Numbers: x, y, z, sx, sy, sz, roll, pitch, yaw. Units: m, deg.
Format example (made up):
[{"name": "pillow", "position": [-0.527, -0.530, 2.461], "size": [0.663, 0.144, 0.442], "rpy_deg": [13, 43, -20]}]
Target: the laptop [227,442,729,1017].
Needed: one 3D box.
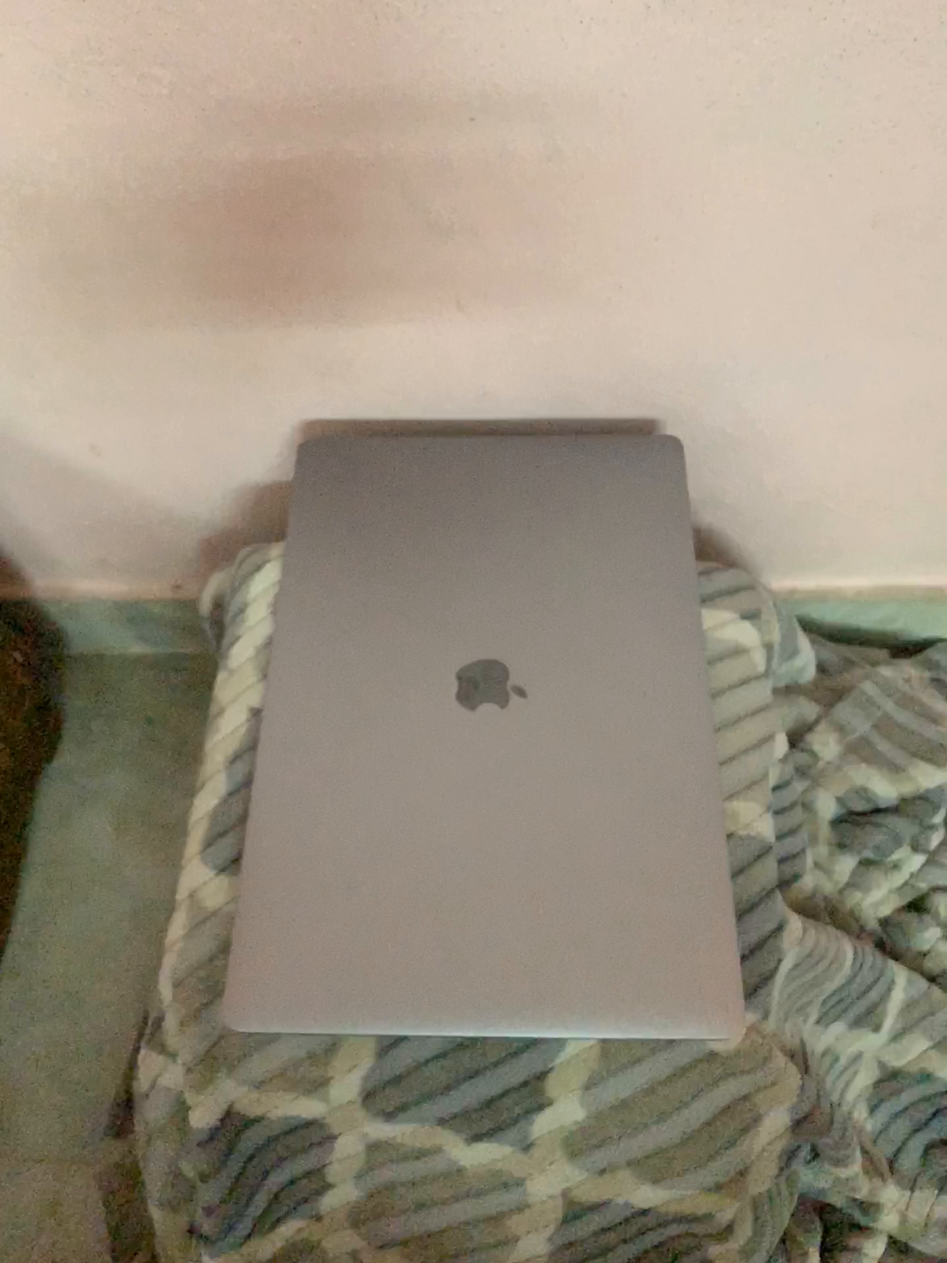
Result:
[{"name": "laptop", "position": [0.004, 0.027, 0.521], "size": [0.228, 0.002, 0.326], "rpy_deg": [0, 61, 3]}]
